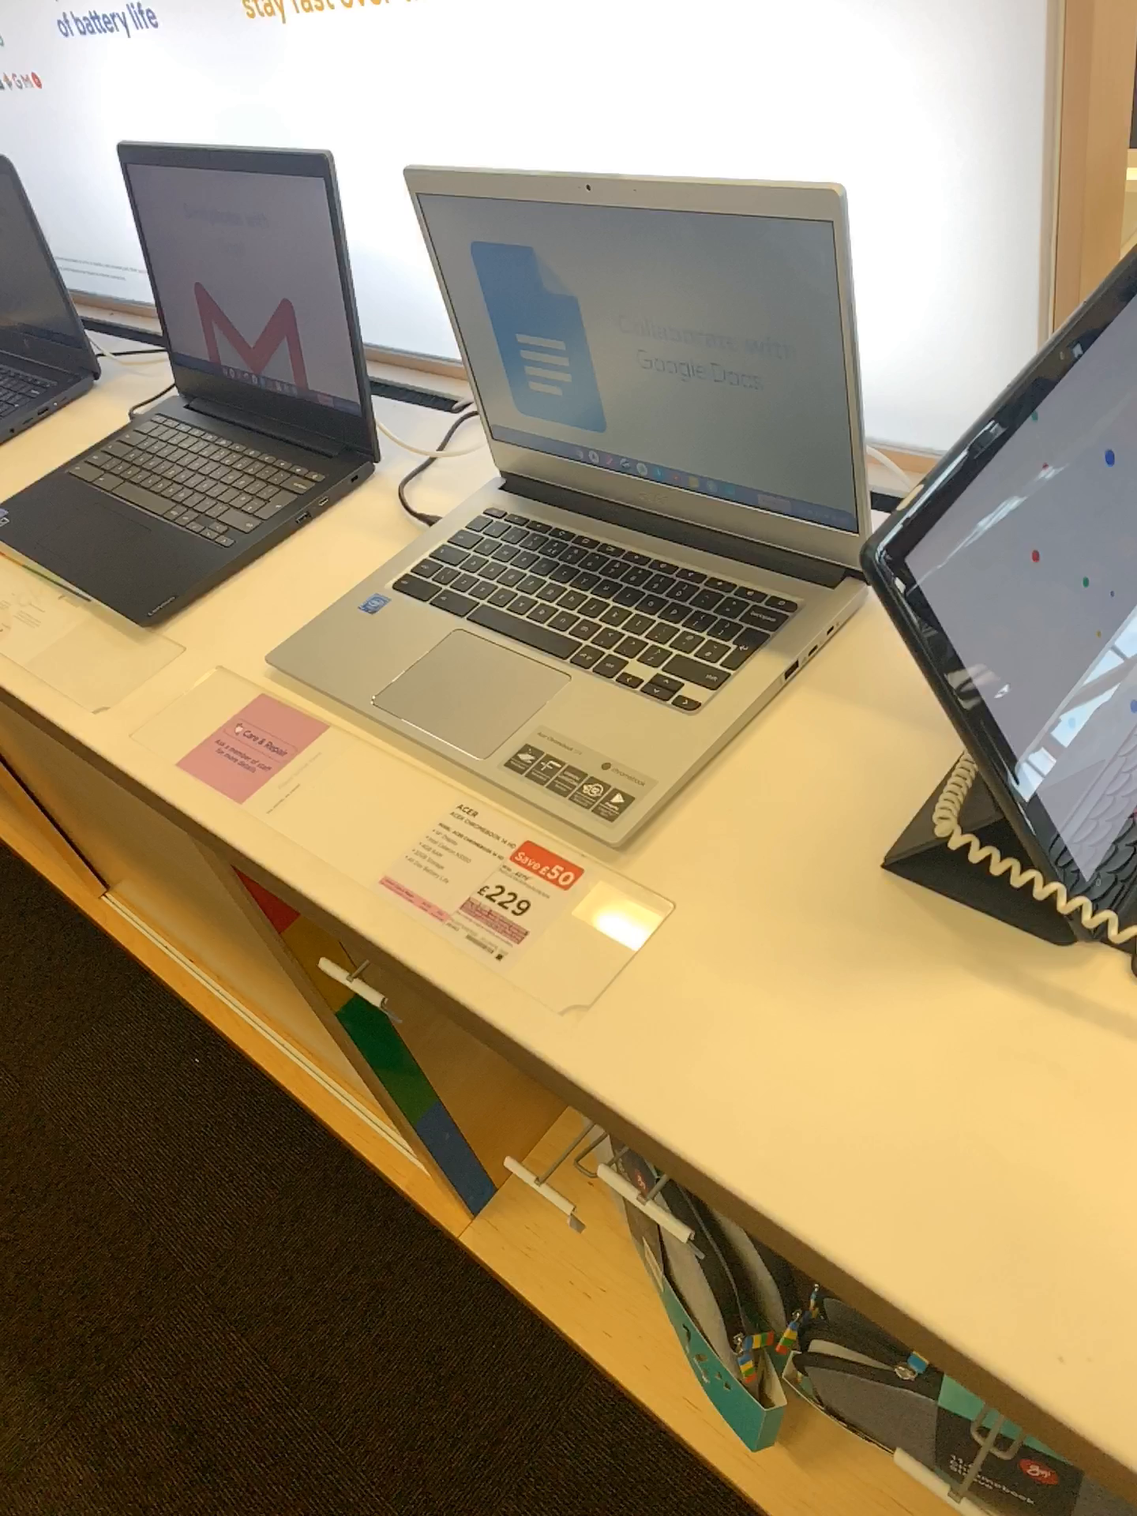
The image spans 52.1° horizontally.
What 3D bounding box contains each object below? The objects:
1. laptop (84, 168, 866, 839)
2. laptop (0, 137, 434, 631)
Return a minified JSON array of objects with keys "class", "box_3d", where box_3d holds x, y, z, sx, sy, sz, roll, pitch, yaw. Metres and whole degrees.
[{"class":"laptop","box_3d":[-0.041,-0.161,0.633,0.304,0.206,0.237,24,57,37]},{"class":"laptop","box_3d":[-0.340,-0.307,0.902,0.309,0.204,0.283,27,61,39]}]
